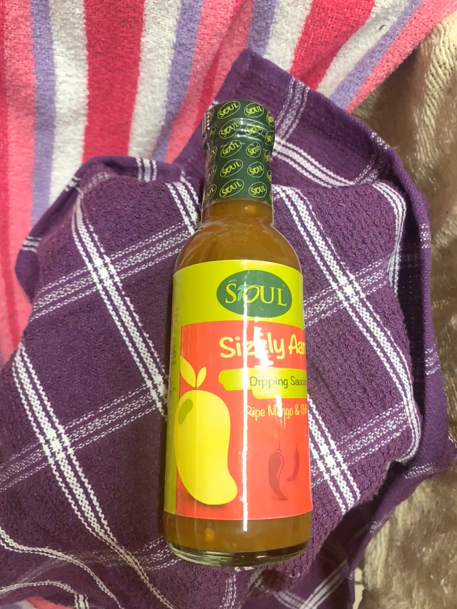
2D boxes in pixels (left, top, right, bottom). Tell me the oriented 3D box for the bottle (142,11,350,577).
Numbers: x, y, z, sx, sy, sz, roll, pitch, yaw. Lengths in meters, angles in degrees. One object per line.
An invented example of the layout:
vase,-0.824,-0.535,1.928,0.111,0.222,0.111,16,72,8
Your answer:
bottle,0.005,-0.010,0.192,0.060,0.060,0.200,1,75,-2
